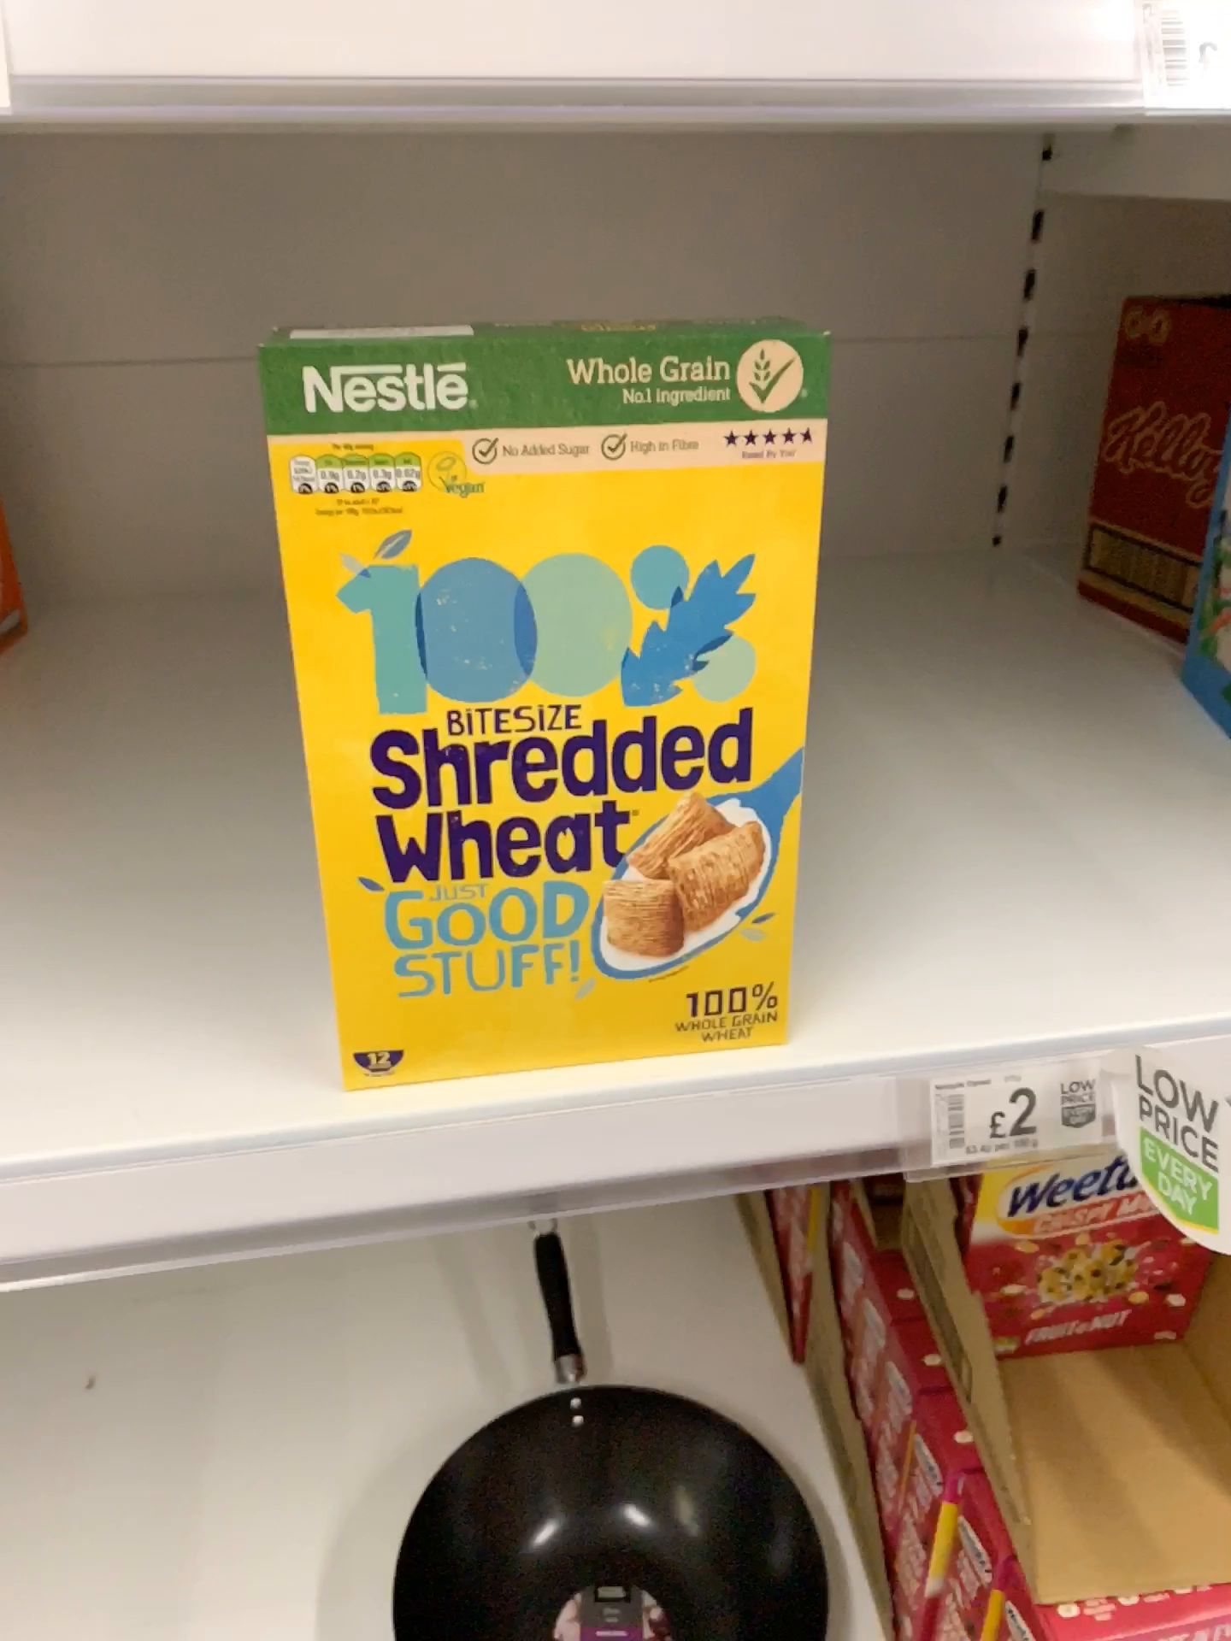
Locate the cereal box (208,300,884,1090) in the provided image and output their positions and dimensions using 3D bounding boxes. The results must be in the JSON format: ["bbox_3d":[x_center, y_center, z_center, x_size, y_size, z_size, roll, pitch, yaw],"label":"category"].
[{"bbox_3d":[-0.022,-0.044,0.482,0.210,0.278,0.071,-4,25,-8],"label":"cereal box"}]
